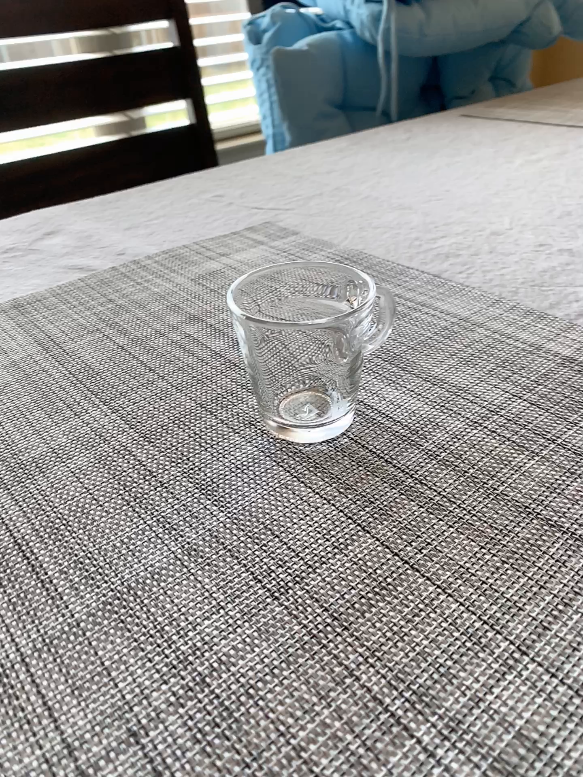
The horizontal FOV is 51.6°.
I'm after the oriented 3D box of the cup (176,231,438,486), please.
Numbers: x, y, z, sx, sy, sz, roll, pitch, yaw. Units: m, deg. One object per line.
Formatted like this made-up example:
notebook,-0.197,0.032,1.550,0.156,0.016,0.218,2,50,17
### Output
cup,0.009,-0.017,0.247,0.083,0.060,0.058,-29,40,-29
